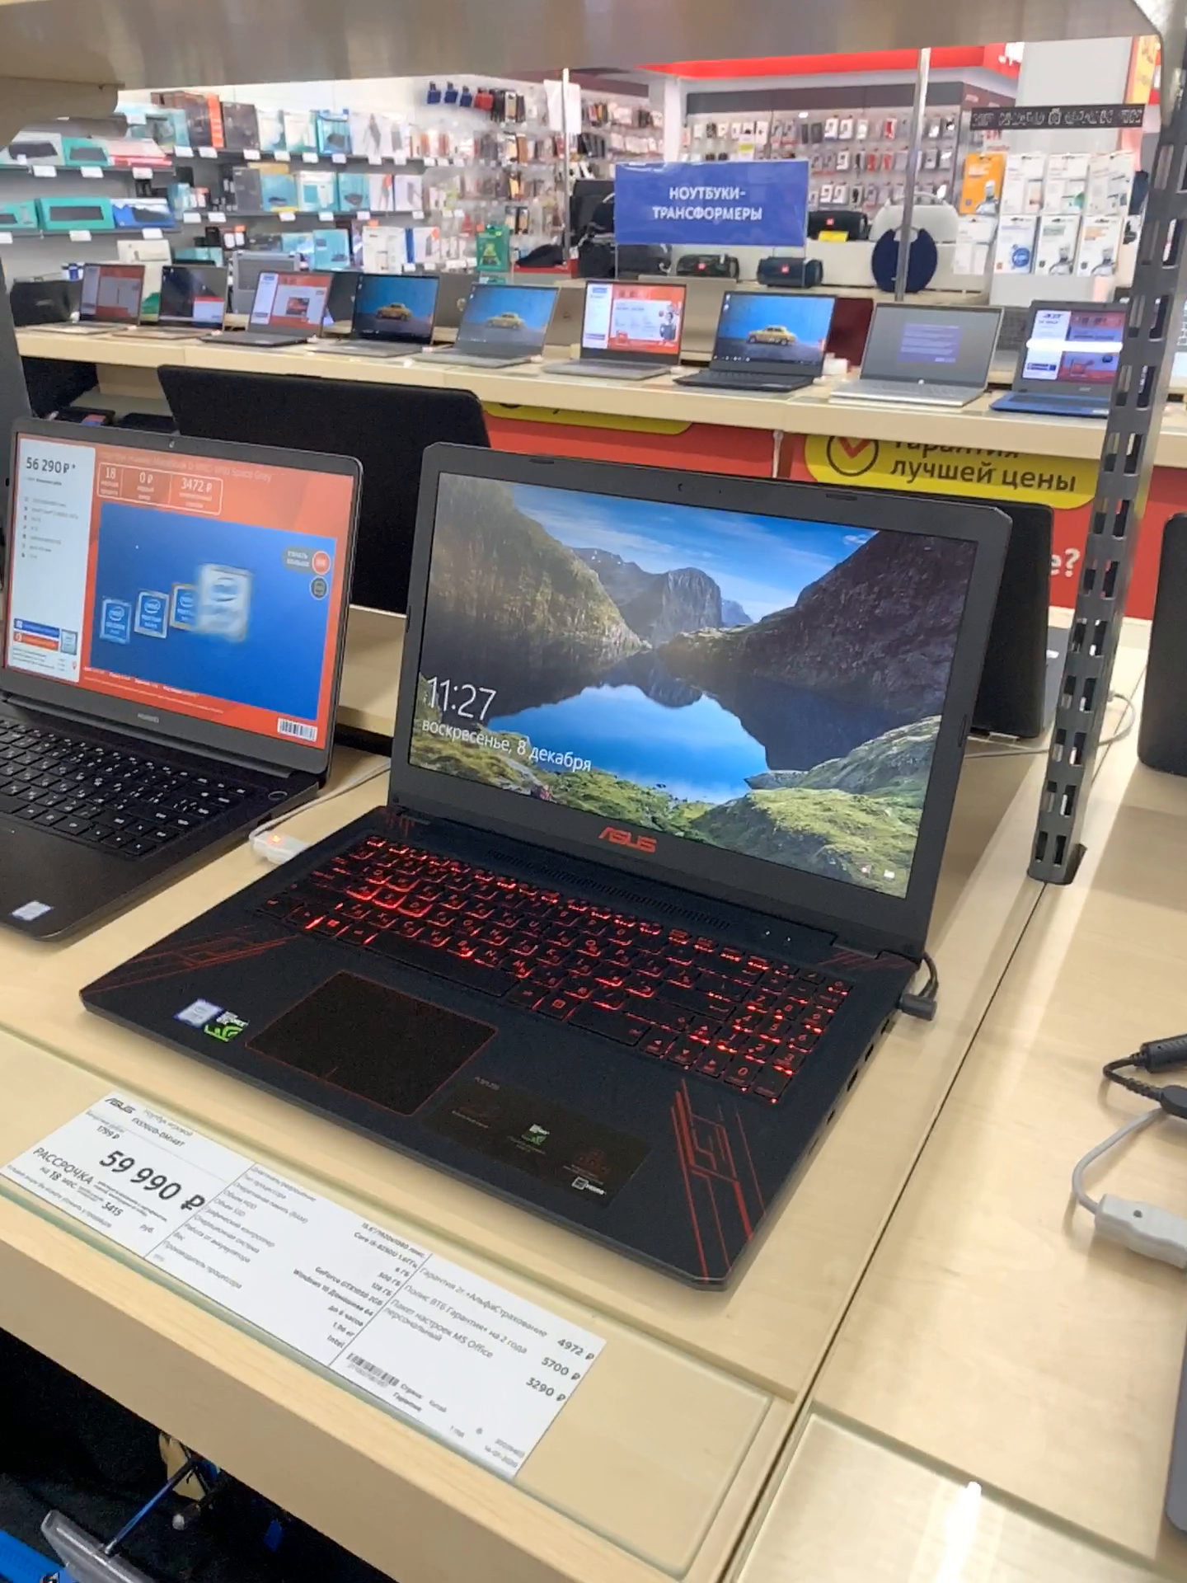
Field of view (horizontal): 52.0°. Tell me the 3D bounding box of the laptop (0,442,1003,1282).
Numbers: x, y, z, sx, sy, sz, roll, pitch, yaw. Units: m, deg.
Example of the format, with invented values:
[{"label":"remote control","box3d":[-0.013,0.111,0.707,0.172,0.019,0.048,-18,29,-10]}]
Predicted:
[{"label":"laptop","box3d":[-0.032,-0.019,0.620,0.366,0.229,0.318,14,29,27]}]
